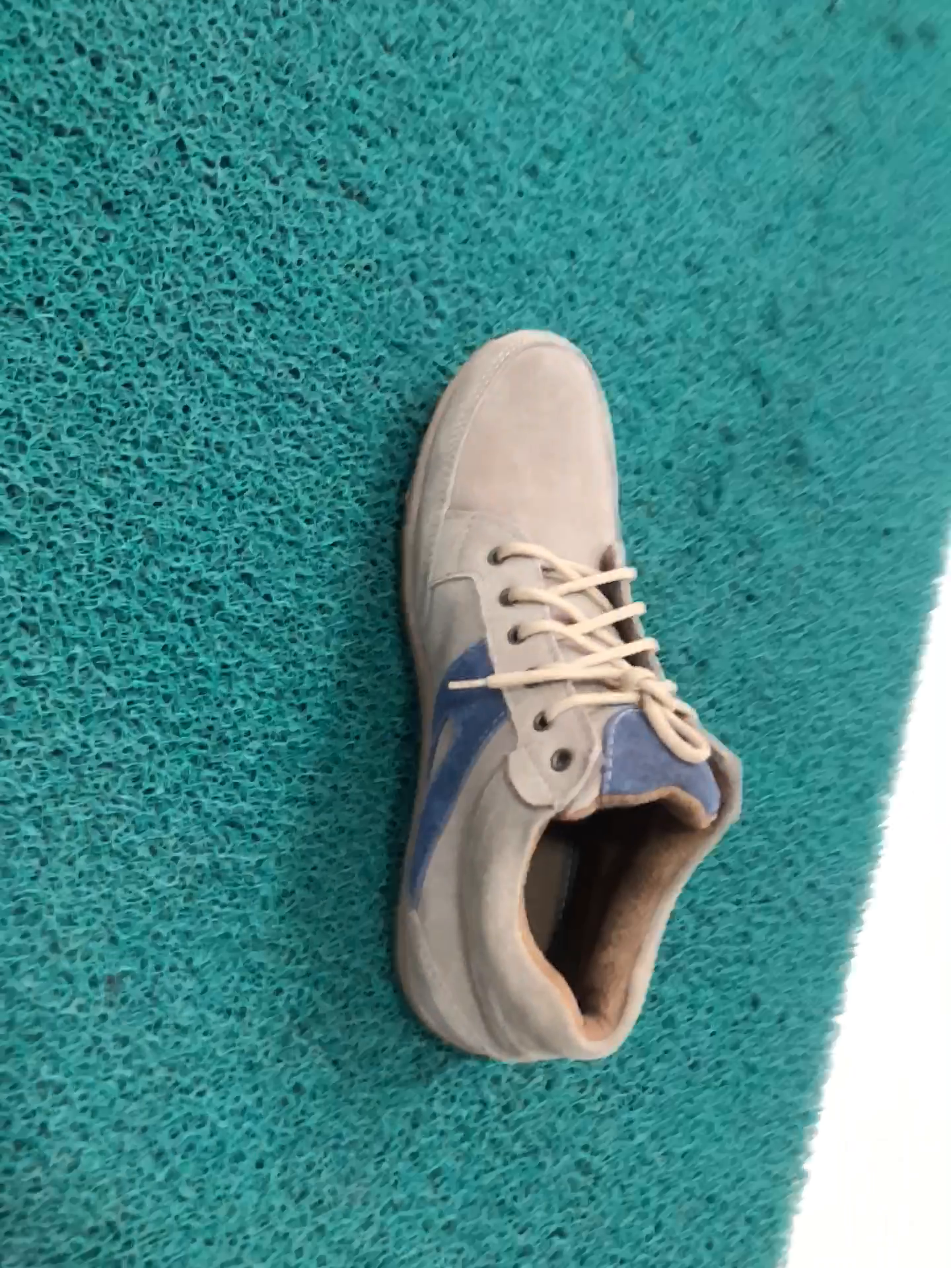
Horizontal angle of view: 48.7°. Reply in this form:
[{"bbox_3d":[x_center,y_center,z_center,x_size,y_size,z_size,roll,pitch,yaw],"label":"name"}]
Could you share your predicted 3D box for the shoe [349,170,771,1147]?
[{"bbox_3d":[0.033,0.009,0.417,0.101,0.119,0.320,9,80,-29],"label":"shoe"}]
